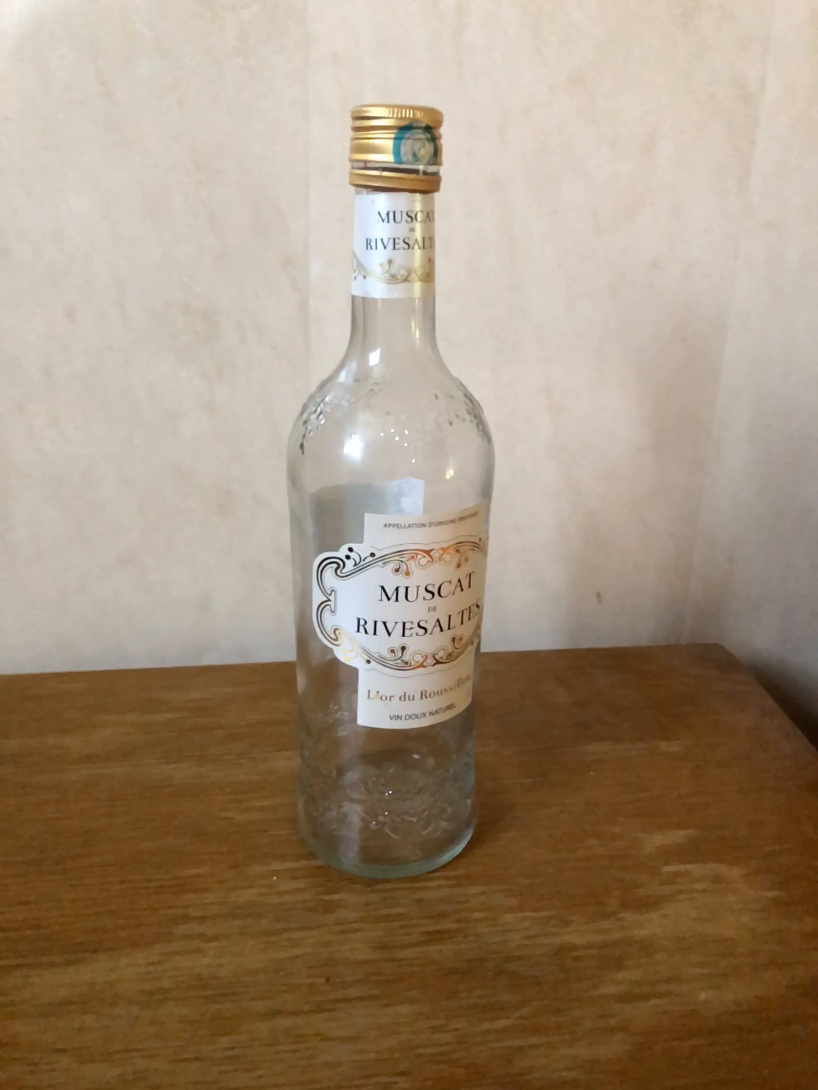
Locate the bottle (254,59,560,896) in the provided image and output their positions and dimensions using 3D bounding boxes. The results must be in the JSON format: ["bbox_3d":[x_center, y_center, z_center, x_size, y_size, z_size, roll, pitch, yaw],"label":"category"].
[{"bbox_3d":[-0.009,-0.016,0.348,0.080,0.289,0.080,2,21,-1],"label":"bottle"}]
